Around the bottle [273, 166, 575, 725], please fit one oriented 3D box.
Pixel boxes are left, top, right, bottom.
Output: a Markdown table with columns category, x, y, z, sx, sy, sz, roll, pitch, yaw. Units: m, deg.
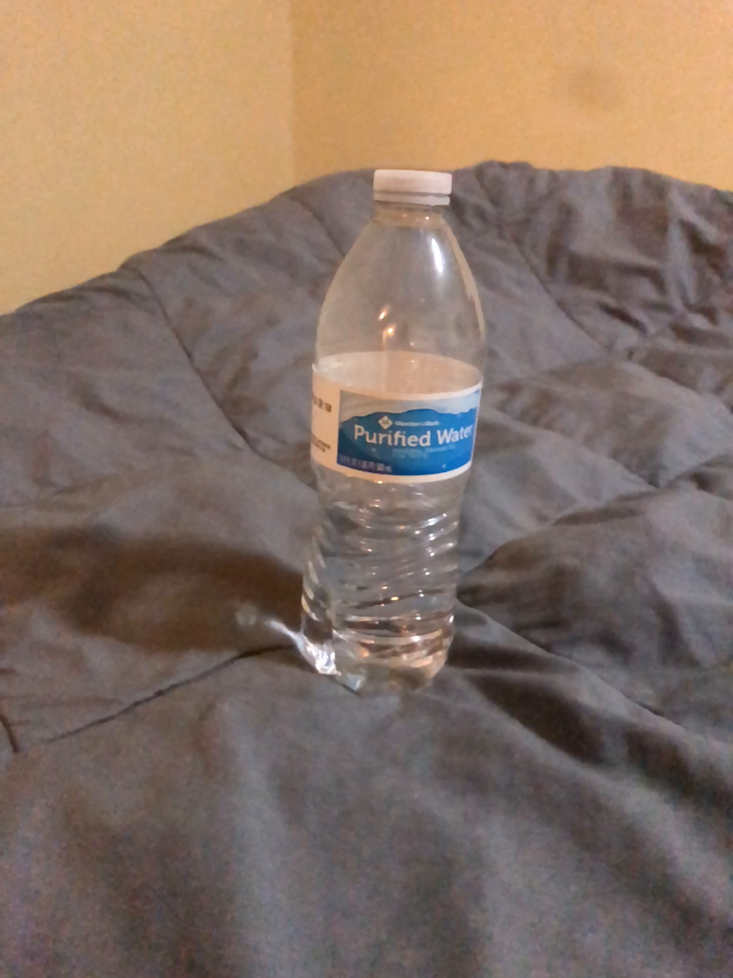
| category | x | y | z | sx | sy | sz | roll | pitch | yaw |
| --- | --- | --- | --- | --- | --- | --- | --- | --- | --- |
| bottle | 0.013 | -0.020 | 0.310 | 0.080 | 0.190 | 0.080 | 1 | 21 | 0 |
